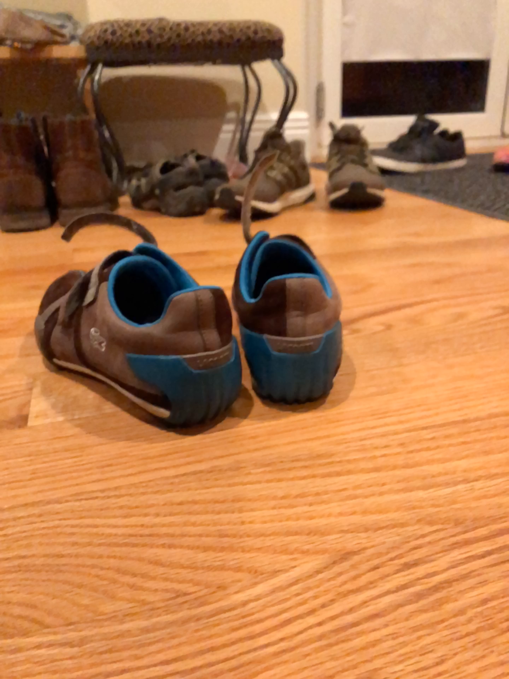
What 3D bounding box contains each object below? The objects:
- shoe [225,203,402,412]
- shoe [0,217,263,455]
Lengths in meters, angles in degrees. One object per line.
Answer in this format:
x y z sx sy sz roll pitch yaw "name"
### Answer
0.032 -0.046 0.480 0.102 0.092 0.256 -3 22 -3 "shoe"
-0.113 -0.025 0.437 0.102 0.092 0.256 -17 27 -33 "shoe"
